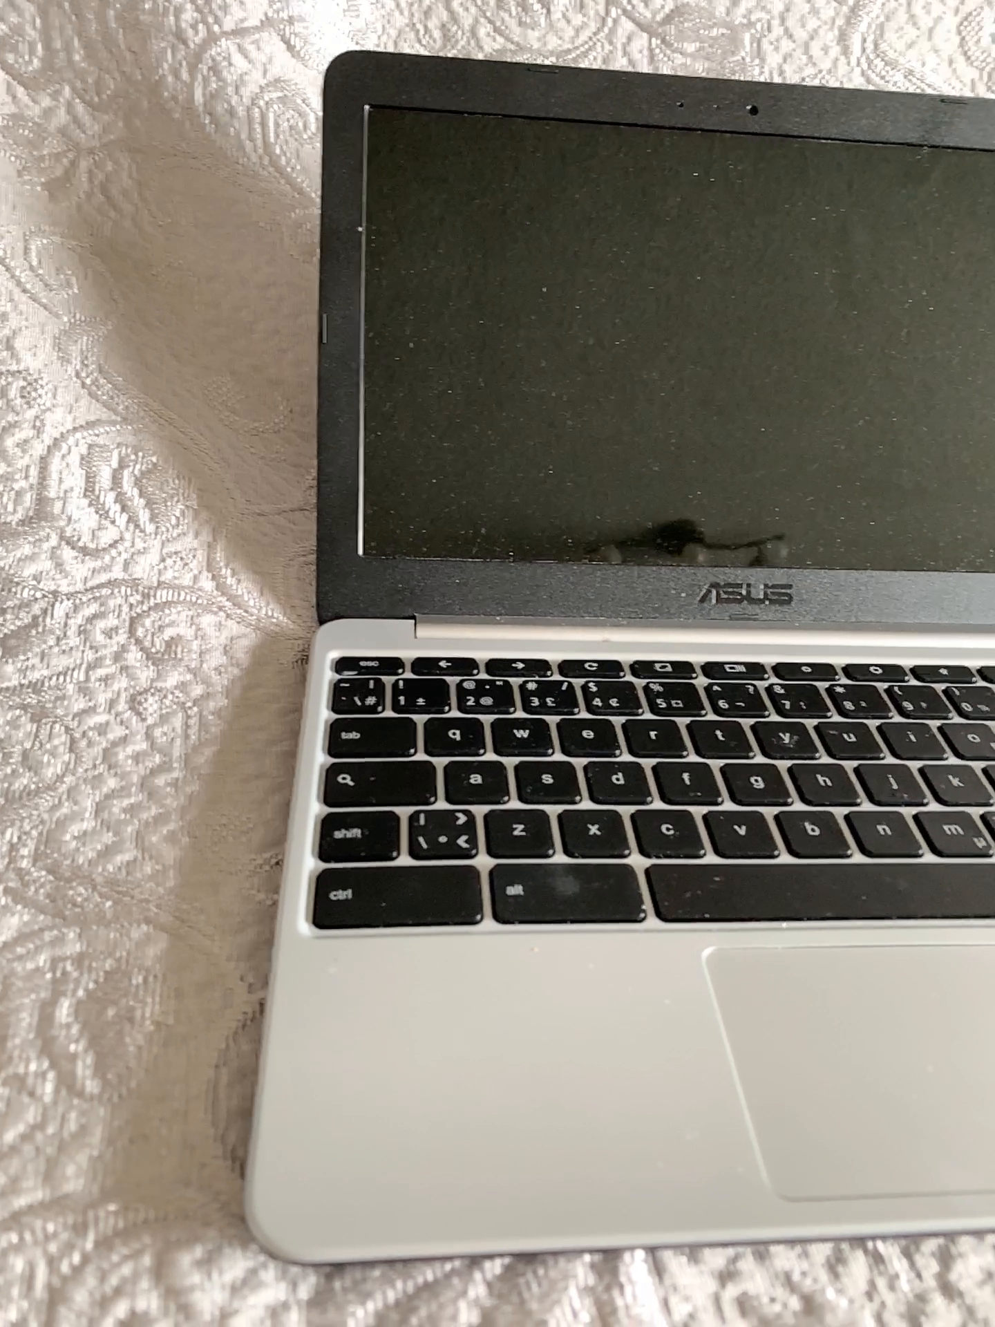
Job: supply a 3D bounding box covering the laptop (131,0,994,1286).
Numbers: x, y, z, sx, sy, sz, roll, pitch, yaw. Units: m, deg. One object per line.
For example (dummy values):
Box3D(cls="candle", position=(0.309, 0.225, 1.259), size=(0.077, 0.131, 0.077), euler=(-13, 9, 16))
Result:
Box3D(cls="laptop", position=(0.087, -0.046, 0.262), size=(0.288, 0.127, 0.288), euler=(2, 42, -13))
